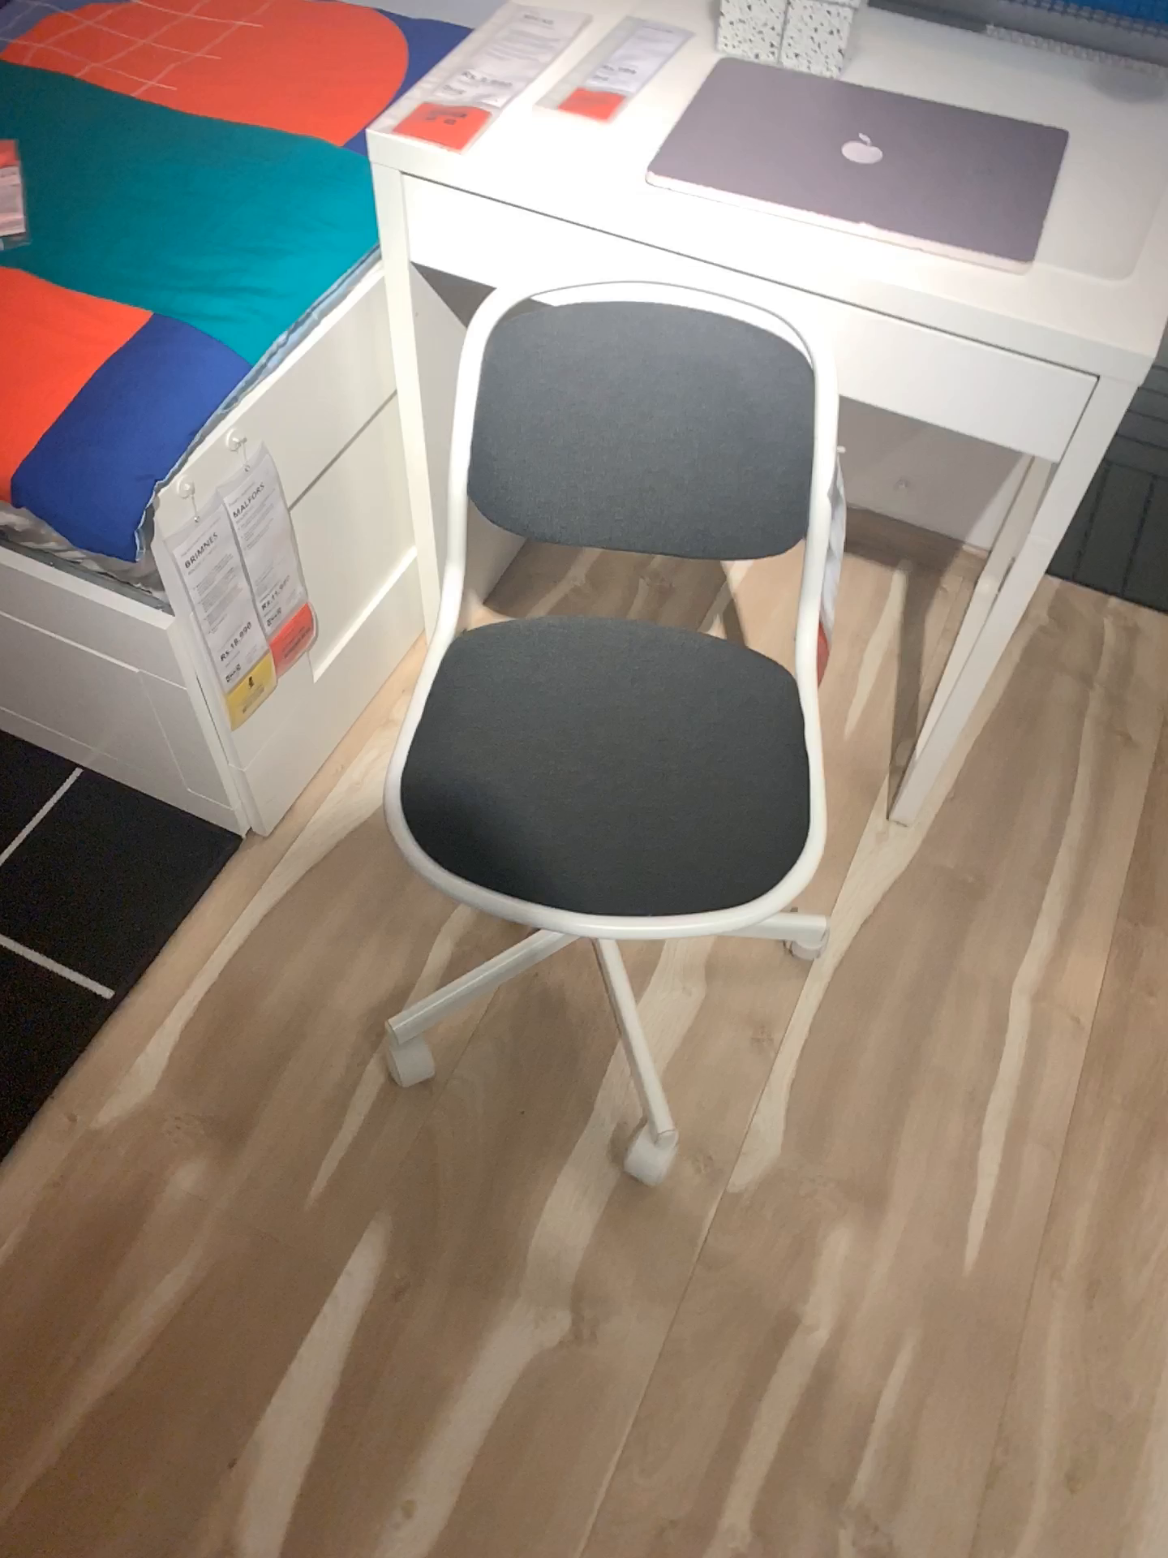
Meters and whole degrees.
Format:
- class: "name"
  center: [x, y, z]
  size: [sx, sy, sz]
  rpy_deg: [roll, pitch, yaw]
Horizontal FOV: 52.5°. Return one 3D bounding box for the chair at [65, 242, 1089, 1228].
- class: "chair"
  center: [0.012, -0.007, 1.083]
  size: [0.570, 0.629, 0.591]
  rpy_deg: [6, 55, 2]
